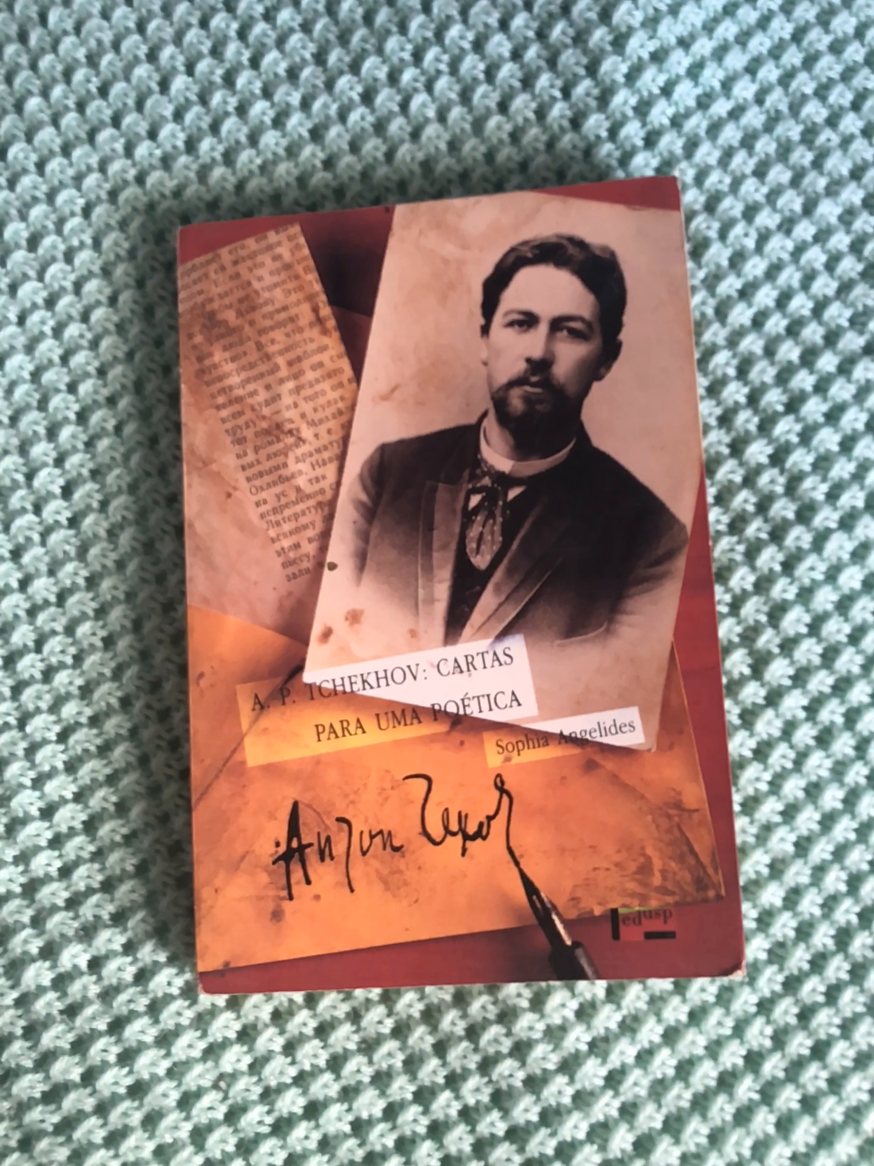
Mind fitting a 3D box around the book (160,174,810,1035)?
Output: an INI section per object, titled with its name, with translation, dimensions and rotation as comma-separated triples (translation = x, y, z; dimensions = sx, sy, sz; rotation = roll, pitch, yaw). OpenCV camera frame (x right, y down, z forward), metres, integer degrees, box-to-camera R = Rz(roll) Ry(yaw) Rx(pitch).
[book]
translation = 0.009, 0.002, 0.265
dimensions = 0.150, 0.030, 0.210
rotation = -4, 84, -1
